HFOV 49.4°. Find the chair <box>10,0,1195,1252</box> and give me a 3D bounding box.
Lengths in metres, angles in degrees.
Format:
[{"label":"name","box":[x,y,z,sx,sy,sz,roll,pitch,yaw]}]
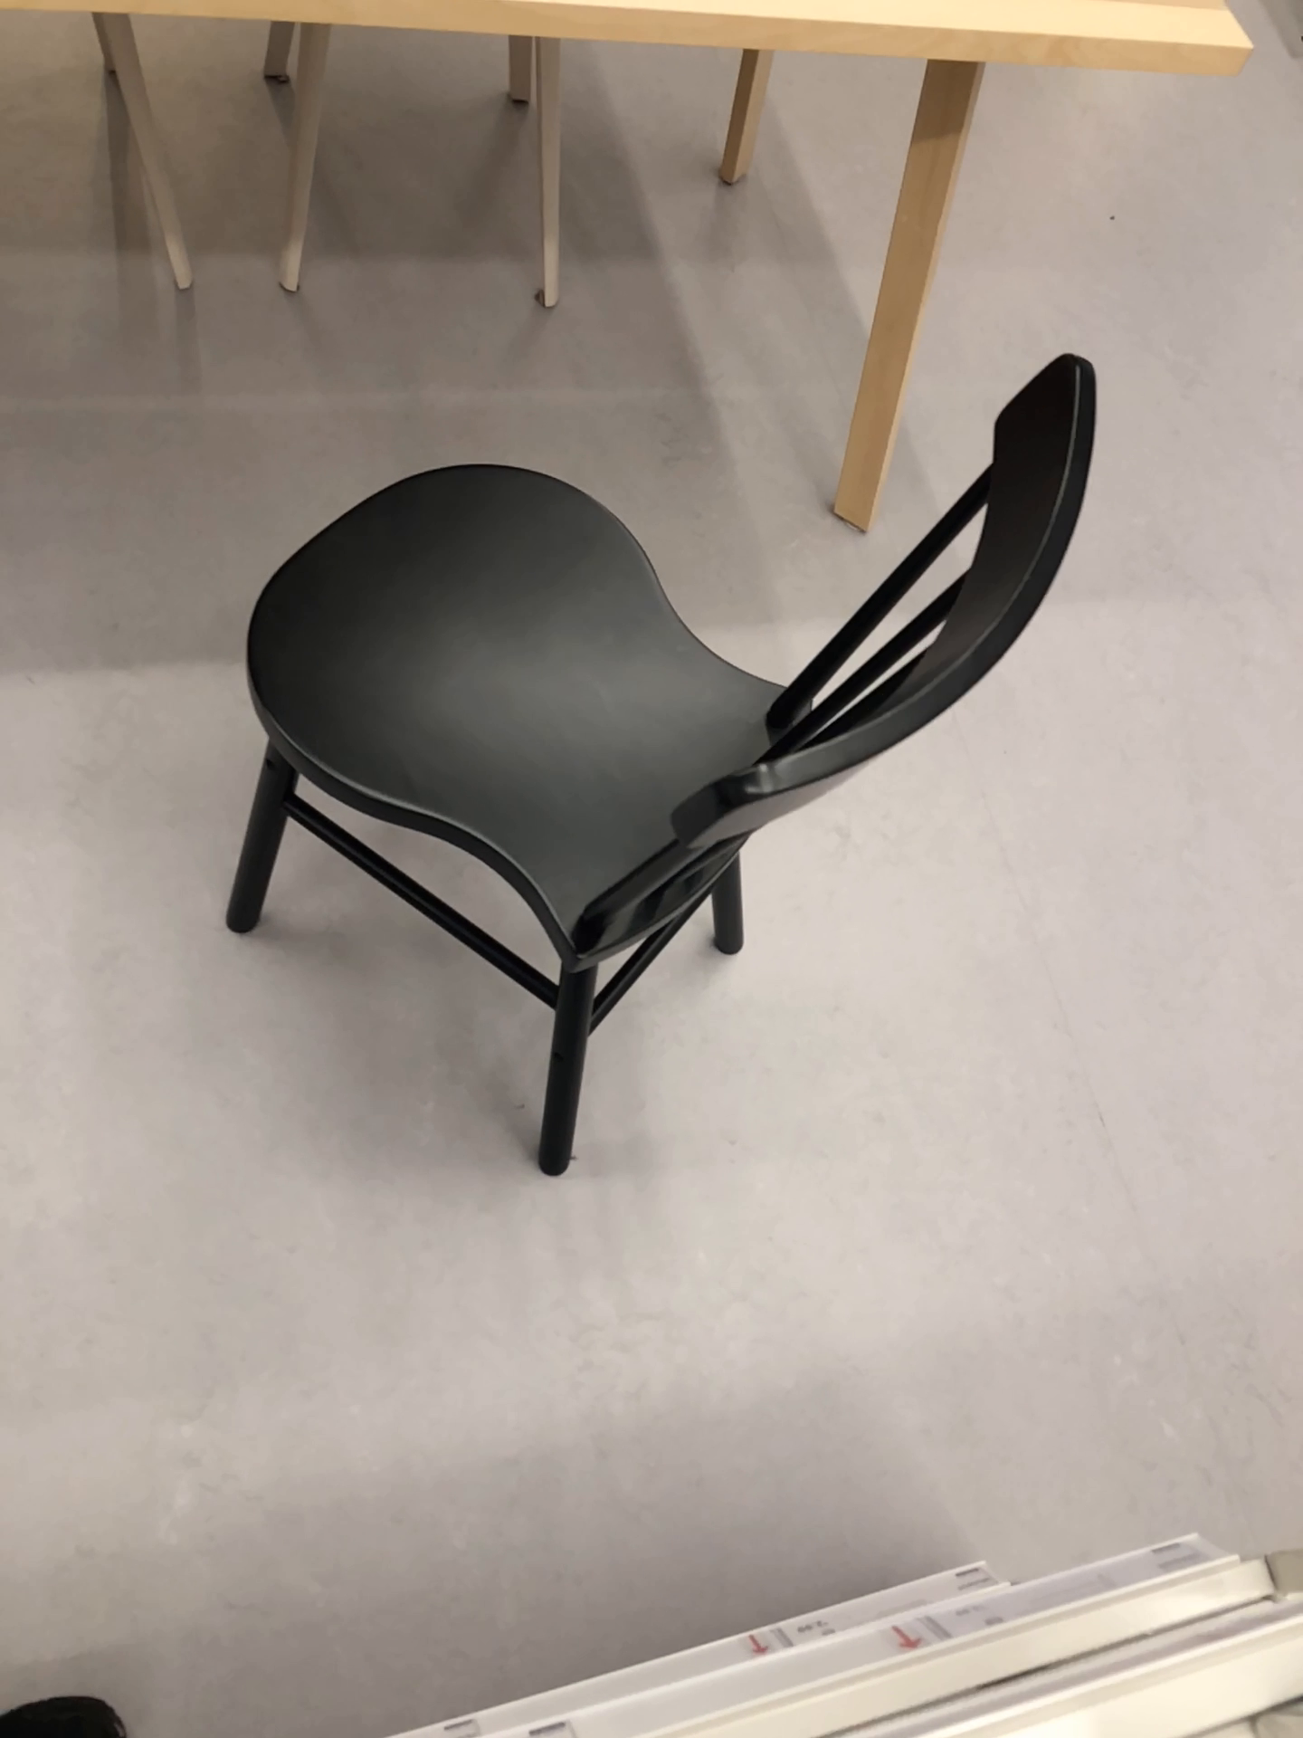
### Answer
[{"label":"chair","box":[-0.068,-0.134,1.138,0.520,0.717,0.482,38,60,9]}]
